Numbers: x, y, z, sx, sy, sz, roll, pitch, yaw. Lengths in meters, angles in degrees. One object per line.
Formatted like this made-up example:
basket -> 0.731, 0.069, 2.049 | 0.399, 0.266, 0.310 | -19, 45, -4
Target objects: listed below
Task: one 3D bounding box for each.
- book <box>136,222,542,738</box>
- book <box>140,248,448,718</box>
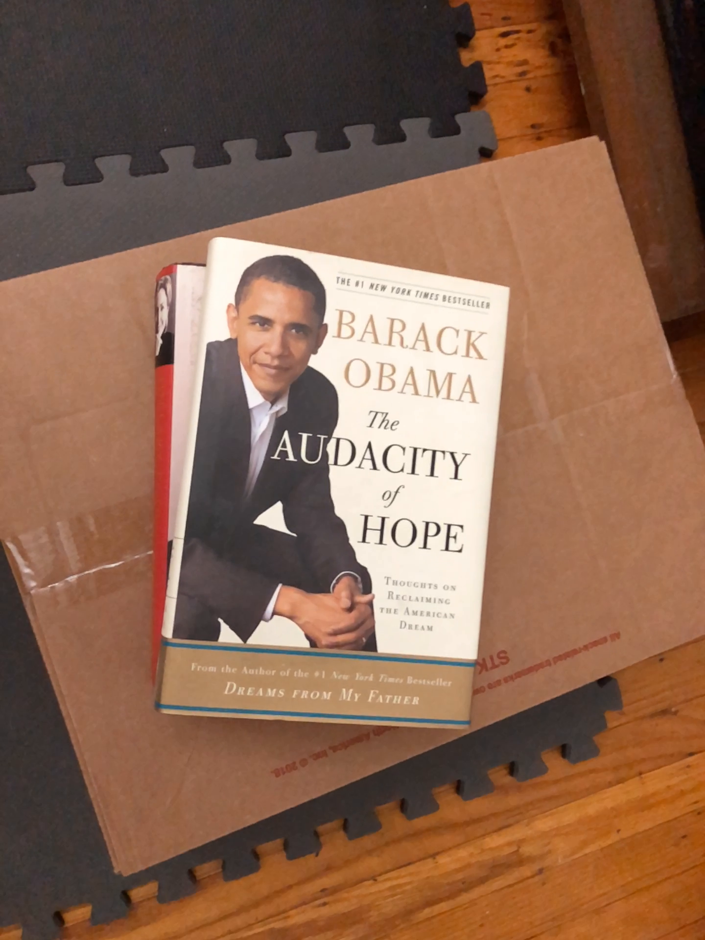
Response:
book -> -0.004, 0.010, 0.426 | 0.190, 0.040, 0.250 | 7, 86, -12
book -> -0.033, 0.007, 0.452 | 0.170, 0.040, 0.250 | 0, 88, -12
